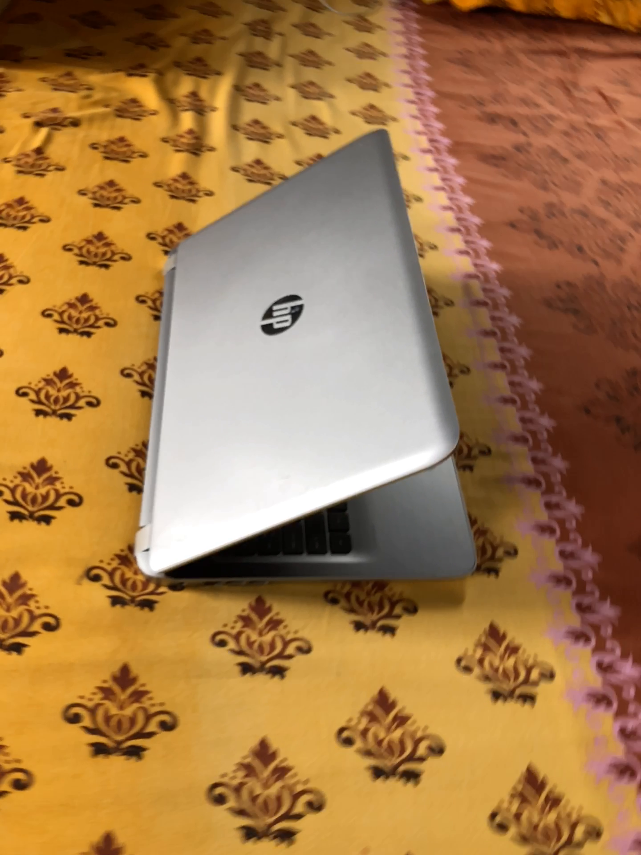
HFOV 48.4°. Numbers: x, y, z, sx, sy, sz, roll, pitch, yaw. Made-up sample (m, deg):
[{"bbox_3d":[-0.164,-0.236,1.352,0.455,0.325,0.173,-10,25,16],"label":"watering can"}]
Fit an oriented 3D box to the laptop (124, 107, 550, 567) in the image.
[{"bbox_3d":[-0.008,-0.089,0.590,0.249,0.155,0.374,1,50,-7],"label":"laptop"}]
